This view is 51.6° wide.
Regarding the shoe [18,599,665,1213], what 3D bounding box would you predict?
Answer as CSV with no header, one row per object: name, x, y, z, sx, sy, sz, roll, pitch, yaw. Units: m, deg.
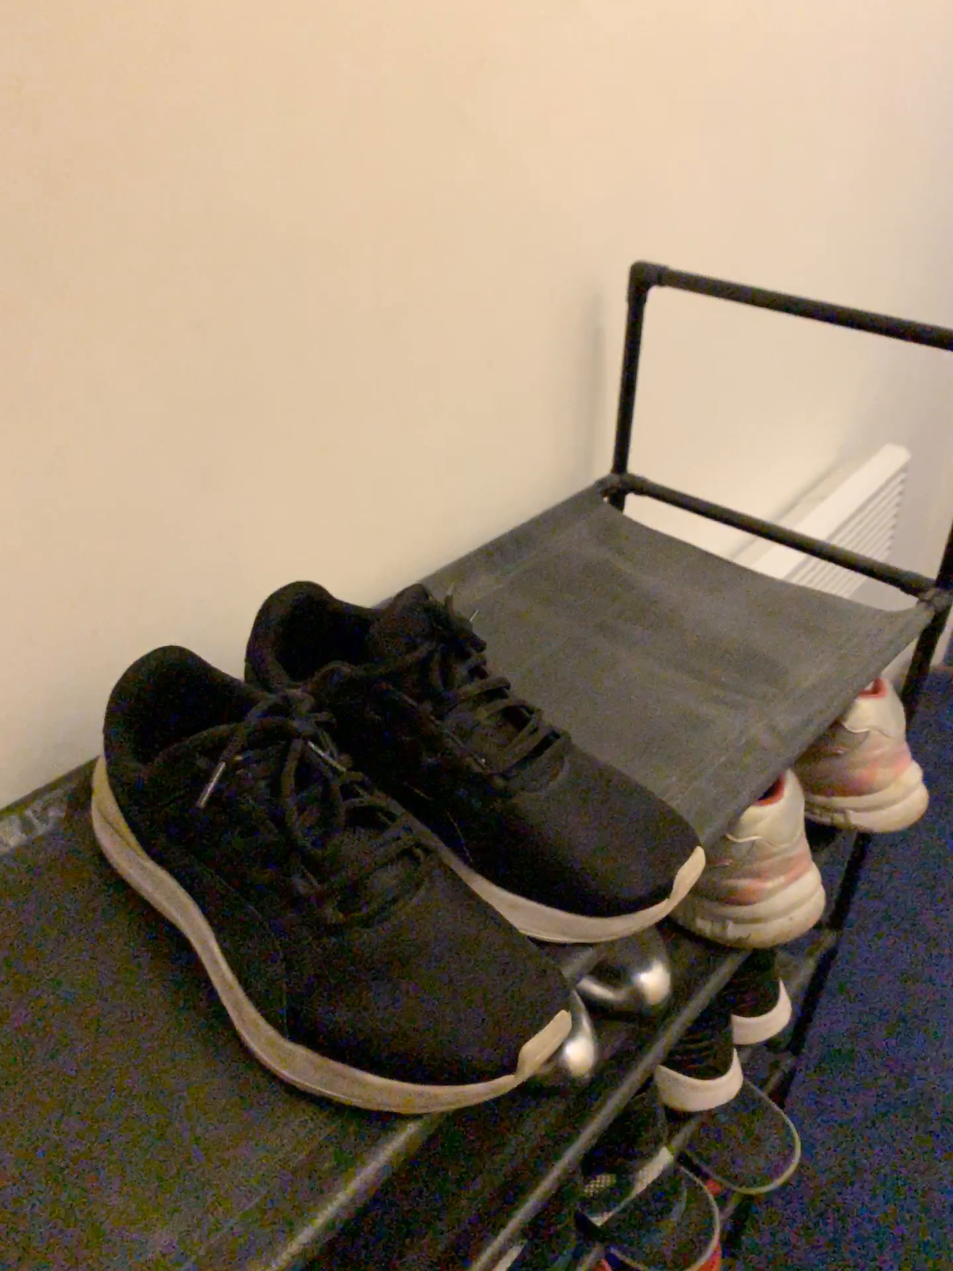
shoe,-0.061,0.086,0.399,0.241,0.089,0.111,25,41,33

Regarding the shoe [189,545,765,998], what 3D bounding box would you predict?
shoe,-0.010,0.046,0.481,0.261,0.069,0.111,25,41,33
